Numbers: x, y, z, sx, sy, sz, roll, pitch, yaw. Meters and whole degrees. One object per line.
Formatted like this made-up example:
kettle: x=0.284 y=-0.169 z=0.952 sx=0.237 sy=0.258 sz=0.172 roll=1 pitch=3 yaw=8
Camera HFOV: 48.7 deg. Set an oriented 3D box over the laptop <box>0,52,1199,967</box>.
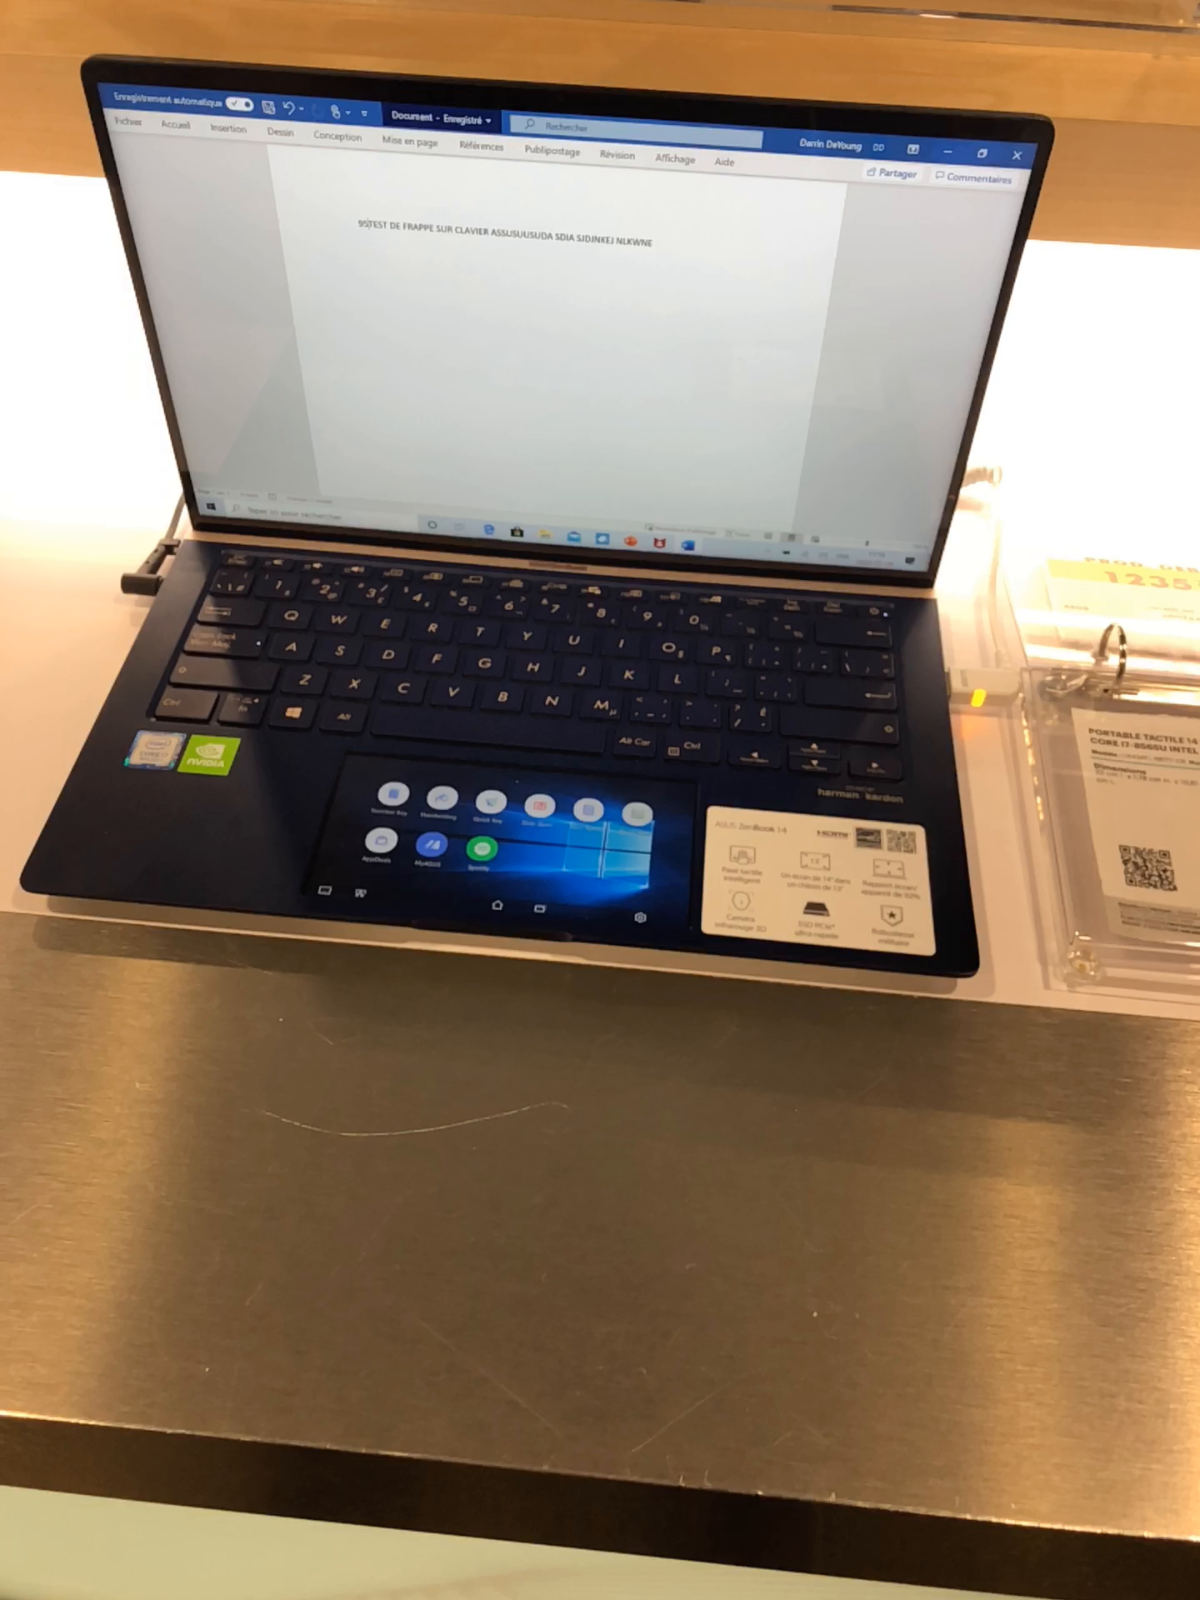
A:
laptop: x=-0.024 y=-0.095 z=0.430 sx=0.317 sy=0.193 sz=0.200 roll=5 pitch=48 yaw=3
